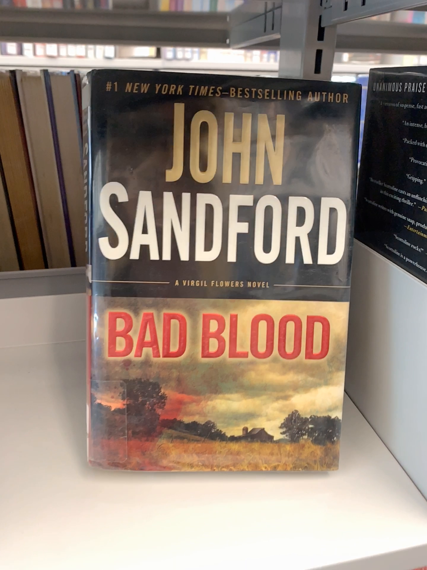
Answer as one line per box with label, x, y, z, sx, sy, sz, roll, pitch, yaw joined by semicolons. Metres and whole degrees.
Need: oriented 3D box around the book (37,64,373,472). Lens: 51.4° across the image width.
book;-0.005;-0.005;0.259;0.165;0.215;0.050;0;9;-2
